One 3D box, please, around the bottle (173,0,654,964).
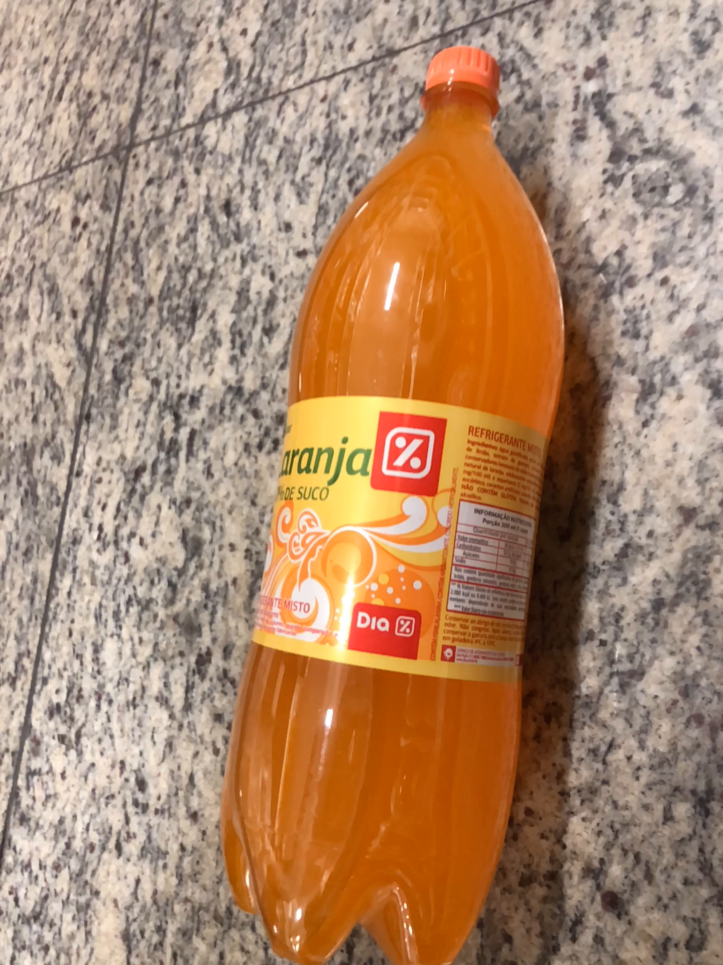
[{"bbox_3d":[0.026,-0.010,0.304,0.121,0.070,0.350,1,78,36],"label":"bottle"}]
